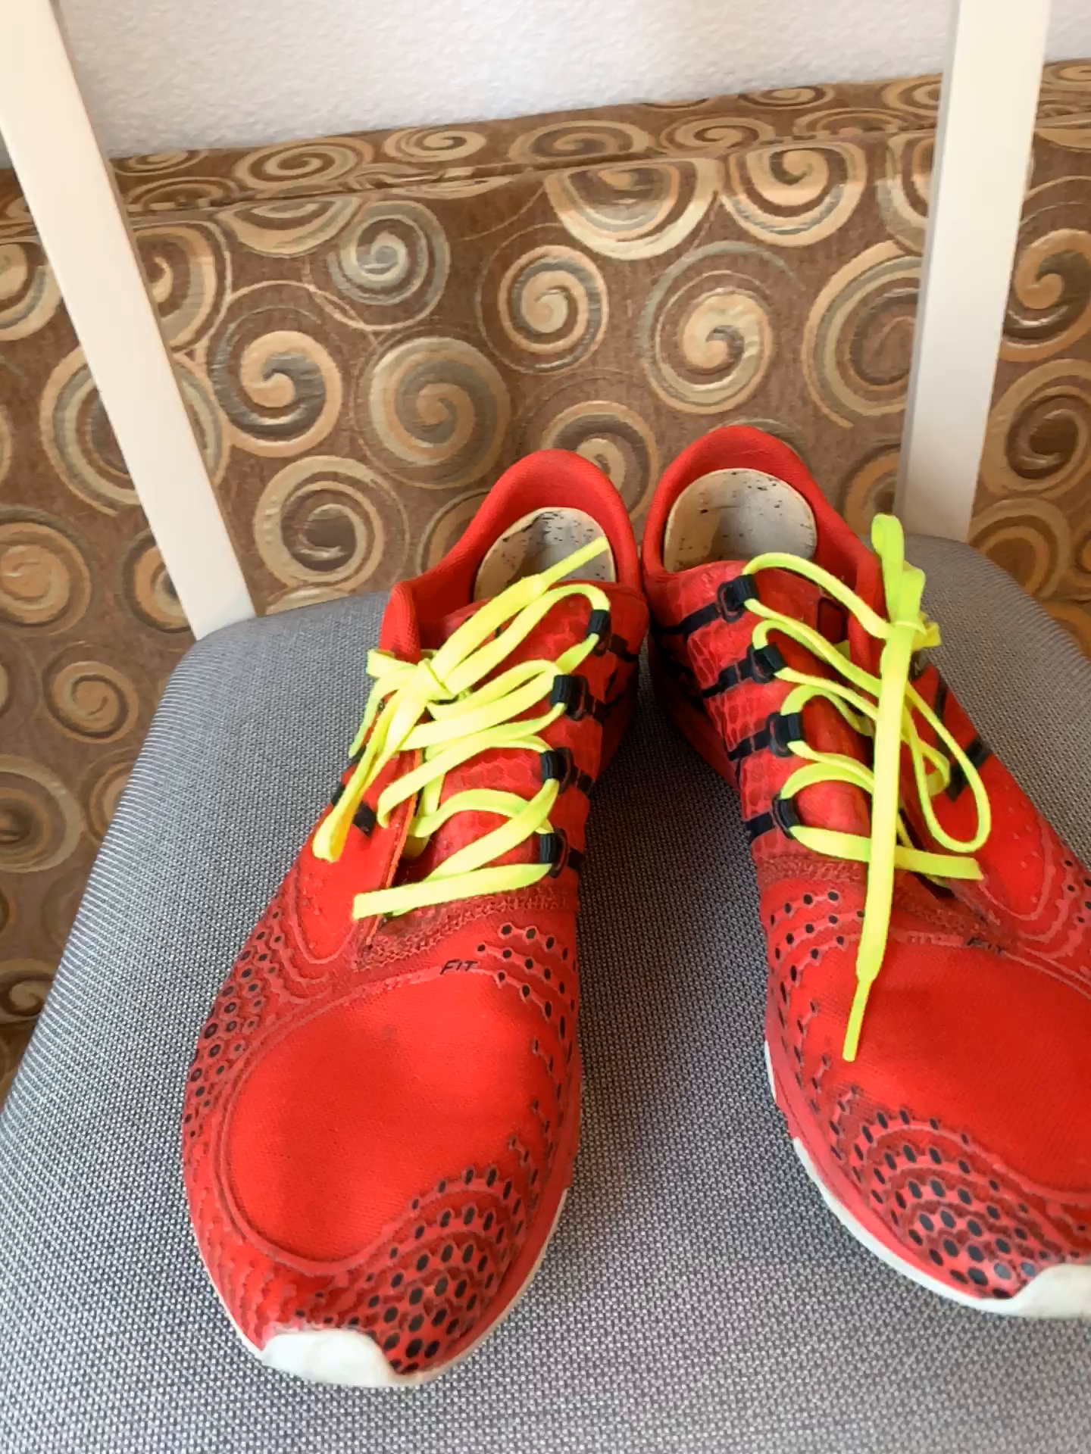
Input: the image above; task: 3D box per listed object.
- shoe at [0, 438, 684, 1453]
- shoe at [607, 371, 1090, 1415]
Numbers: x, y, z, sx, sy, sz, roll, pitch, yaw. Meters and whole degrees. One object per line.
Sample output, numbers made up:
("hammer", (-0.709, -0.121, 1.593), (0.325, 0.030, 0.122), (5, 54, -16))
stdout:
("shoe", (-0.031, 0.037, 0.313), (0.110, 0.090, 0.261), (5, 50, 10))
("shoe", (0.100, 0.020, 0.308), (0.110, 0.090, 0.261), (-10, 49, -3))
